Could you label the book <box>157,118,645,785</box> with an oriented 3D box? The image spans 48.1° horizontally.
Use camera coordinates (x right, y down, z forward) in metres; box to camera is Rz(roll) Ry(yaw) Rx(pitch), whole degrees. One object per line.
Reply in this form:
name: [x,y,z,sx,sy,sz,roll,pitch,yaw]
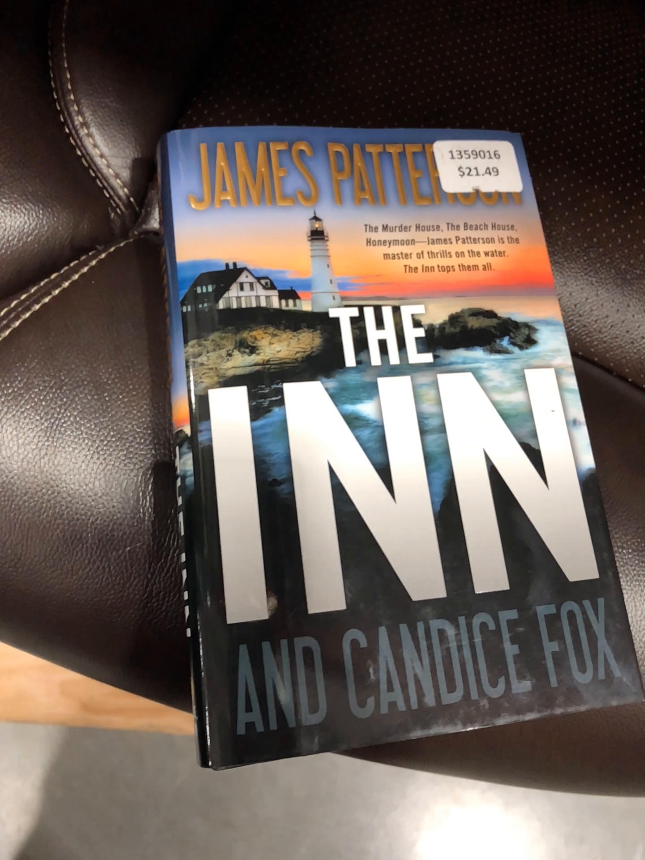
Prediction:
book: [0.028,-0.008,0.296,0.170,0.040,0.250,-4,75,-10]
